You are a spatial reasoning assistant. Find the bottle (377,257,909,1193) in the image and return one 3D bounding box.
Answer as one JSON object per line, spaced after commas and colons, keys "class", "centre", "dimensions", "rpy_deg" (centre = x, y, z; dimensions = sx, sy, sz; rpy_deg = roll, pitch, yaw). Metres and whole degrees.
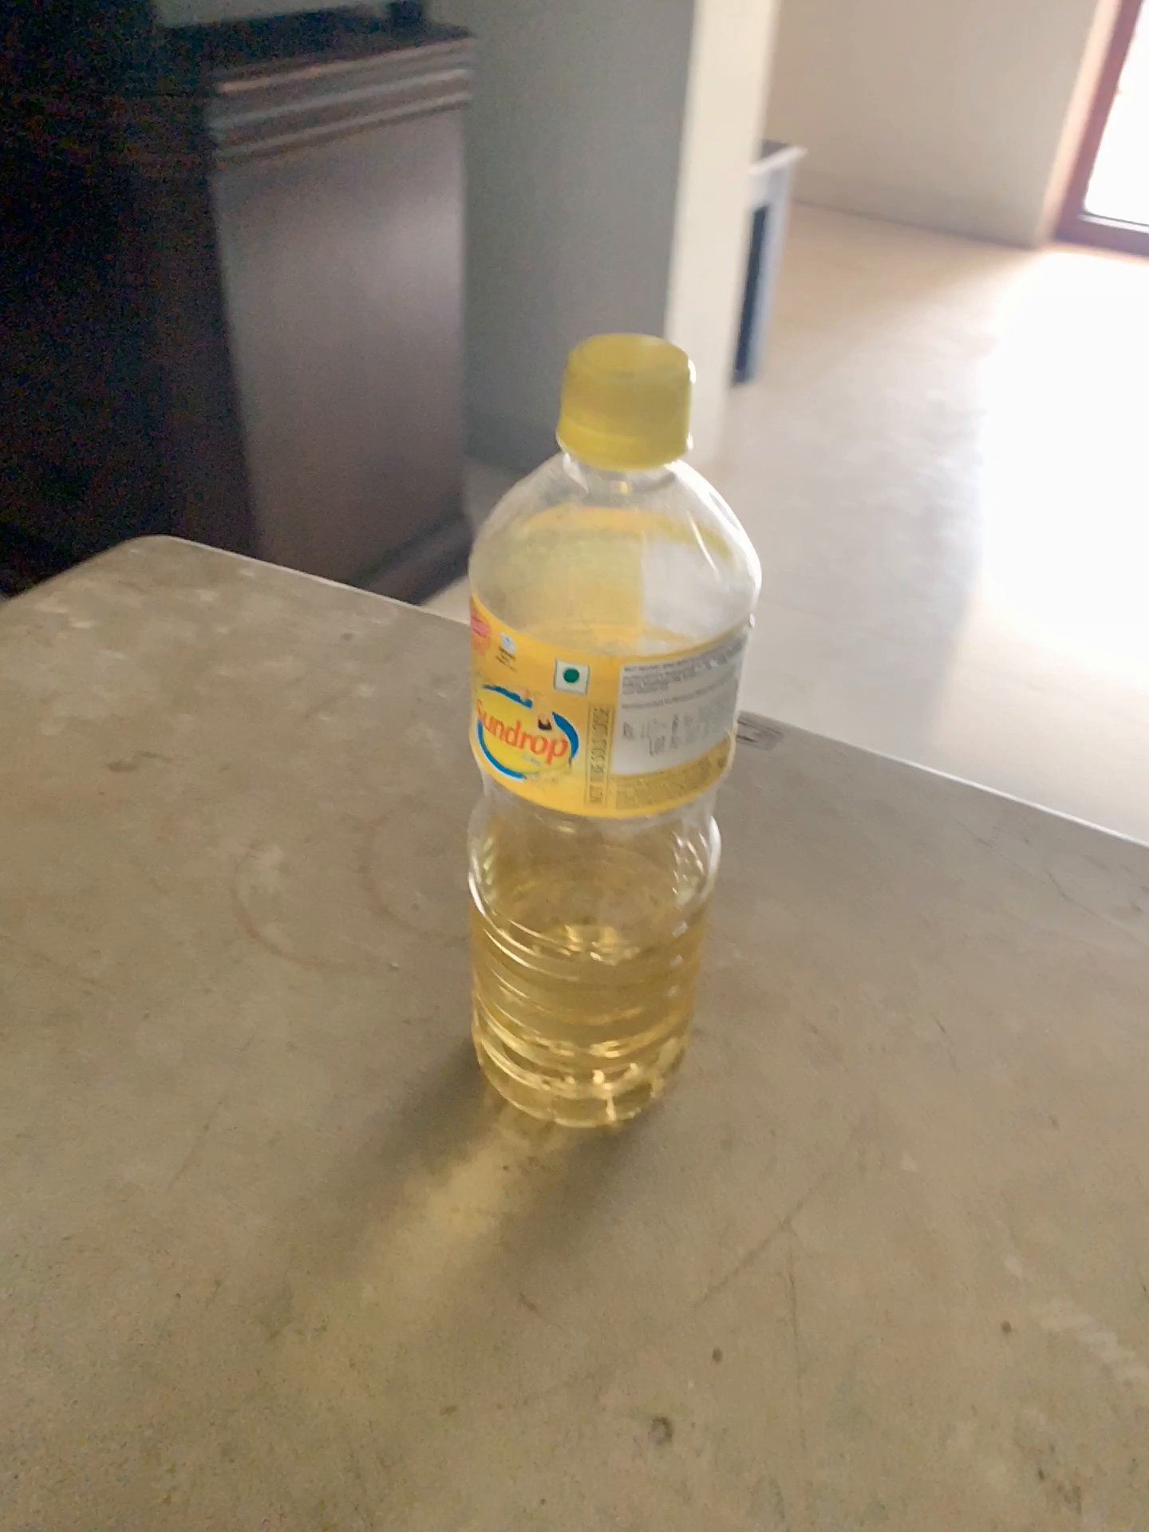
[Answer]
{"class": "bottle", "centre": [0.011, 0.002, 0.367], "dimensions": [0.090, 0.269, 0.090], "rpy_deg": [2, 40, -2]}
